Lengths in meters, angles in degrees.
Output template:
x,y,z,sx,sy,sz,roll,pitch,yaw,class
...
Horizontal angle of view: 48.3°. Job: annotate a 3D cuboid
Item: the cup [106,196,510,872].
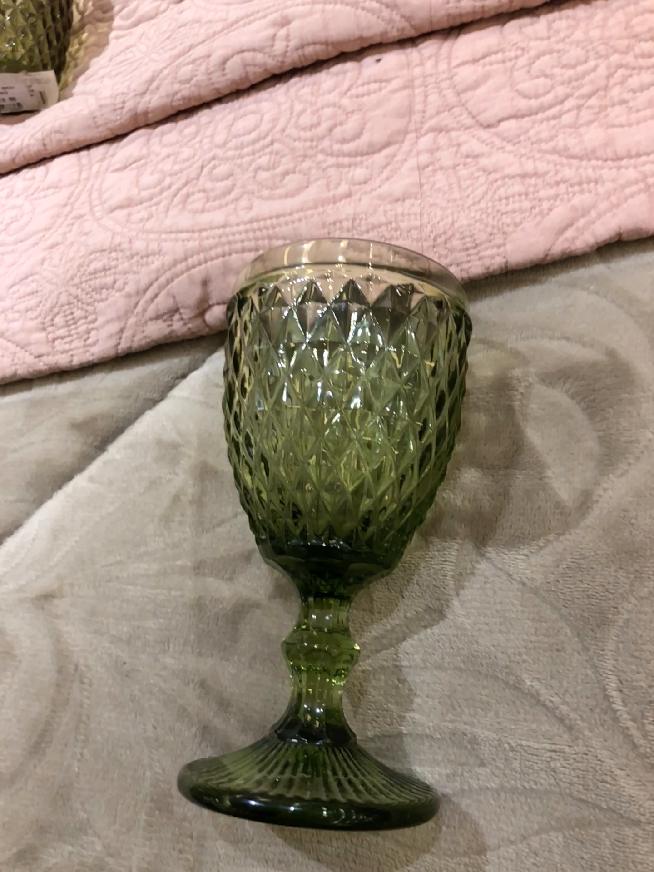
x,y,z,sx,sy,sz,roll,pitch,yaw,class
0.008,0.029,0.243,0.090,0.080,0.190,-1,67,20,cup
